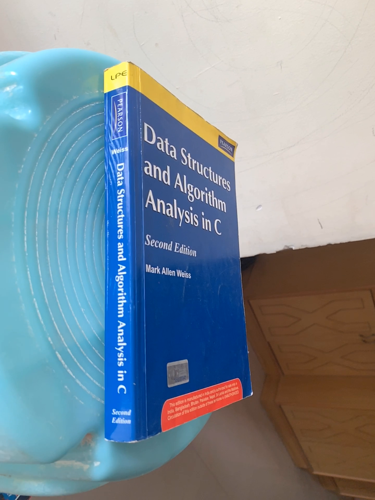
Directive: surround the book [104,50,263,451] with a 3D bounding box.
[{"bbox_3d":[0.004,0.001,0.302,0.161,0.030,0.240,13,71,-56],"label":"book"}]
